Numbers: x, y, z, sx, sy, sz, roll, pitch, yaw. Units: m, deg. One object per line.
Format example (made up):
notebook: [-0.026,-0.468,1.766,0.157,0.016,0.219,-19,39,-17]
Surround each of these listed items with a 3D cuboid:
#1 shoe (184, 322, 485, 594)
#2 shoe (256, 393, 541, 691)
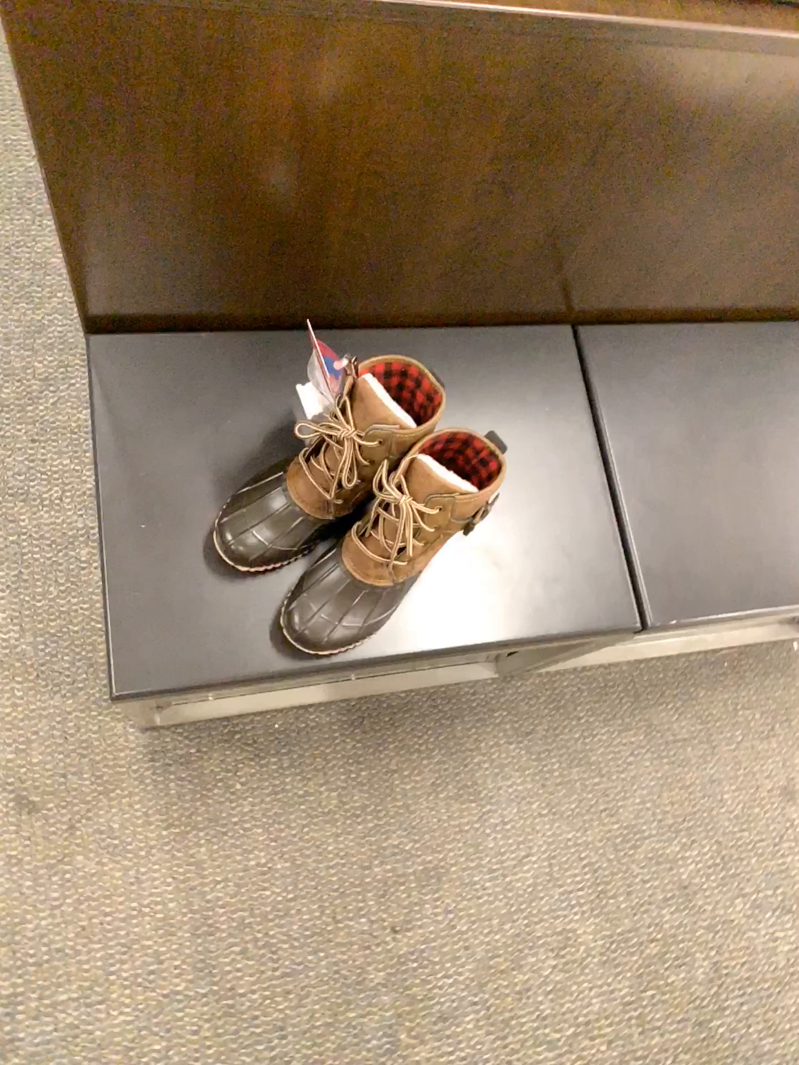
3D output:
shoe: [-0.065,-0.065,0.756,0.240,0.150,0.100,-33,83,-21]
shoe: [-0.005,0.013,0.751,0.100,0.150,0.240,43,68,2]
